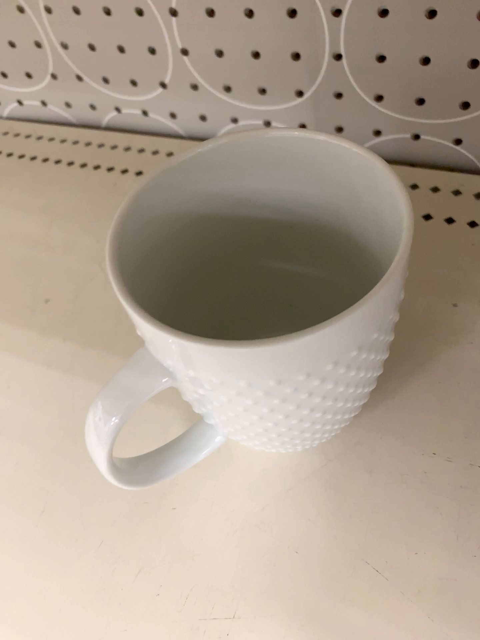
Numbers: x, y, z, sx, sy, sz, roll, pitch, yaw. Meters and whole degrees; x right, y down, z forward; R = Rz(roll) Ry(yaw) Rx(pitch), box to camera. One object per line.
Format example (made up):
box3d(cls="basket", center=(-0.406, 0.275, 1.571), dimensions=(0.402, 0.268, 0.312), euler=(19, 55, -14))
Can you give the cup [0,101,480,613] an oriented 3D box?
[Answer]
box3d(cls="cup", center=(0.003, 0.014, 0.193), dimensions=(0.137, 0.105, 0.094), euler=(-43, 58, -17))
